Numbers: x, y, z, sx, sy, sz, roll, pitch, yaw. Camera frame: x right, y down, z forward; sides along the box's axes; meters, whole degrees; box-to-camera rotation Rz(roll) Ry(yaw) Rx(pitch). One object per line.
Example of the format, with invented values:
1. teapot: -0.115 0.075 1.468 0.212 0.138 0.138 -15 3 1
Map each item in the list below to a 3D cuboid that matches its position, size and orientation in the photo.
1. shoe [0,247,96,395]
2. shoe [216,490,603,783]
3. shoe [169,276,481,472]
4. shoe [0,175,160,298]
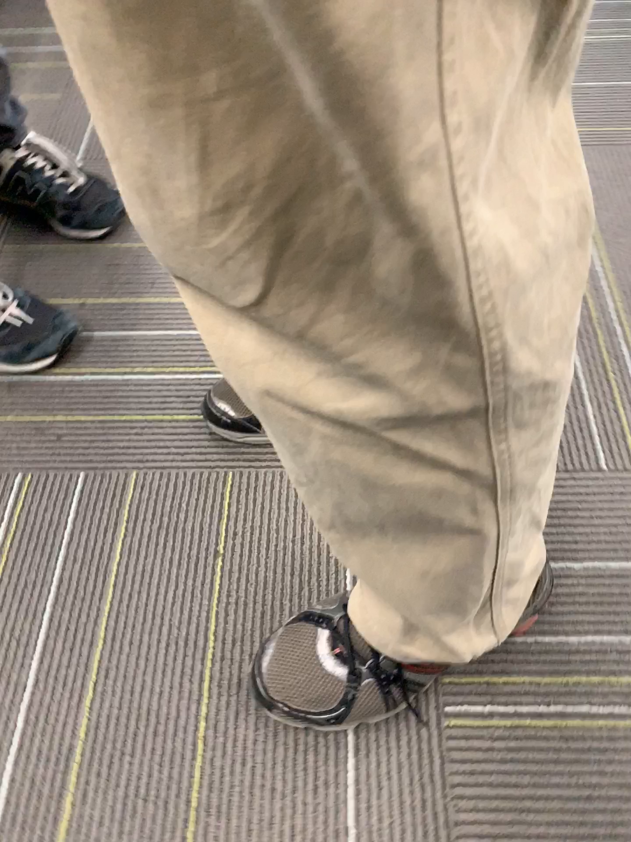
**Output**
1. shoe: -0.454 -0.132 0.840 0.279 0.085 0.138 8 56 8
2. shoe: 0.083 0.196 0.608 0.315 0.087 0.131 -21 57 -11
3. shoe: 0.008 -0.058 0.765 0.327 0.087 0.135 -14 56 -7
4. shoe: -0.400 -0.269 0.945 0.315 0.087 0.131 -4 56 0
